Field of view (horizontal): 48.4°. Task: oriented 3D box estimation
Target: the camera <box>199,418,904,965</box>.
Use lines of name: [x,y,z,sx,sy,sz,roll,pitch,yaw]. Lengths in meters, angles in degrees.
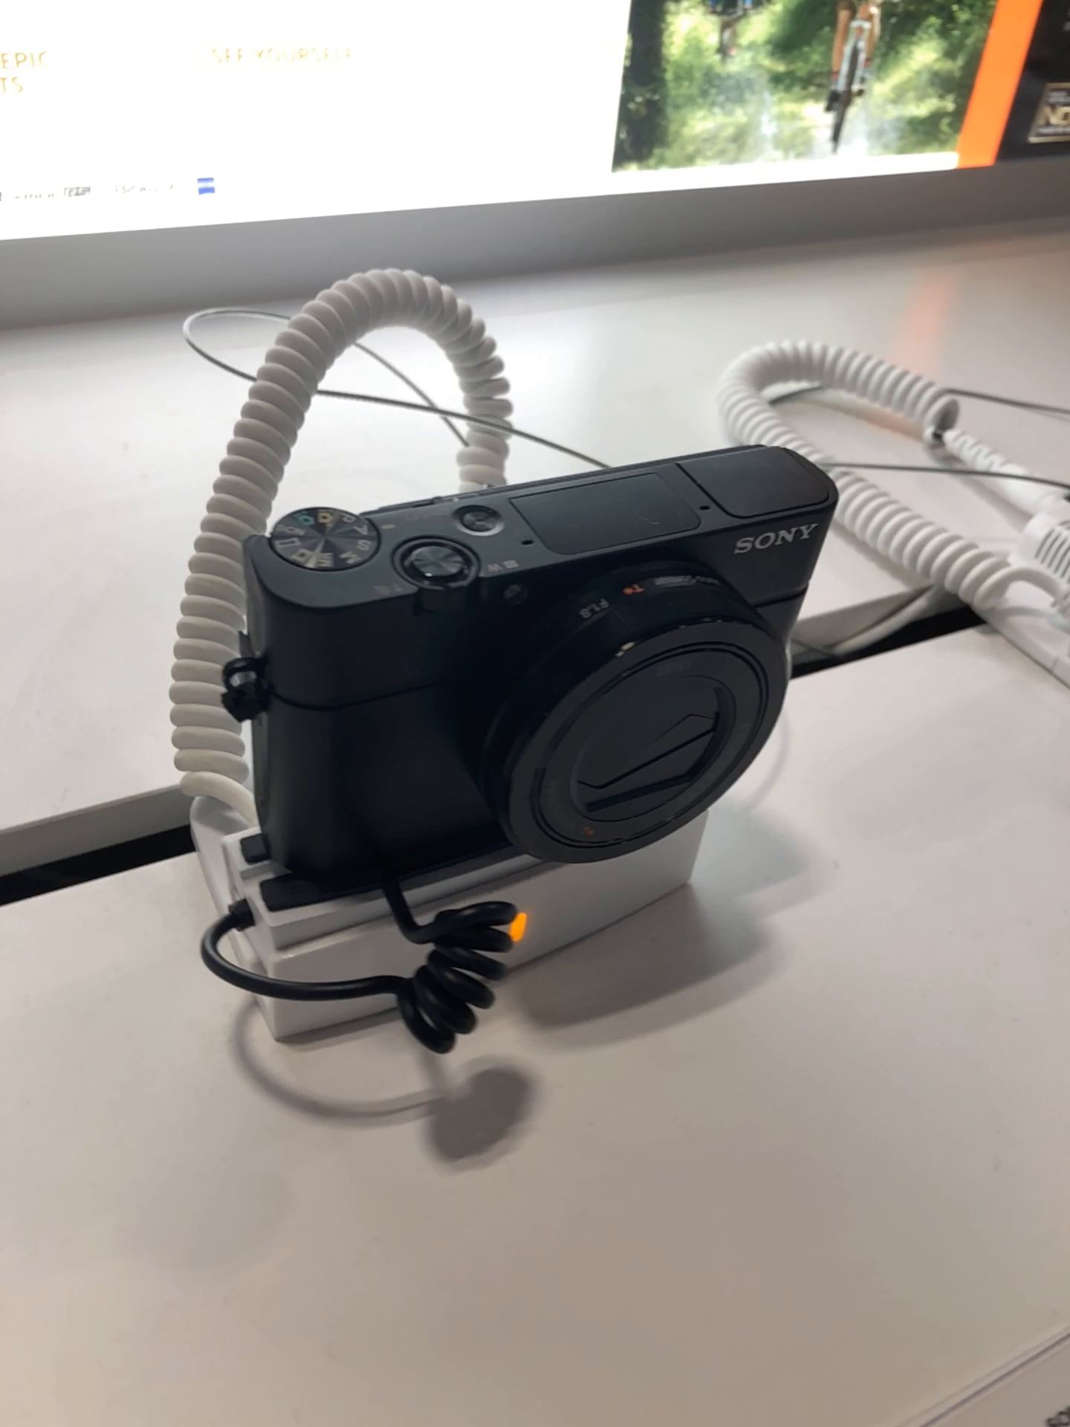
camera: [0.003,-0.006,0.210,0.110,0.070,0.030,-14,43,-23]
